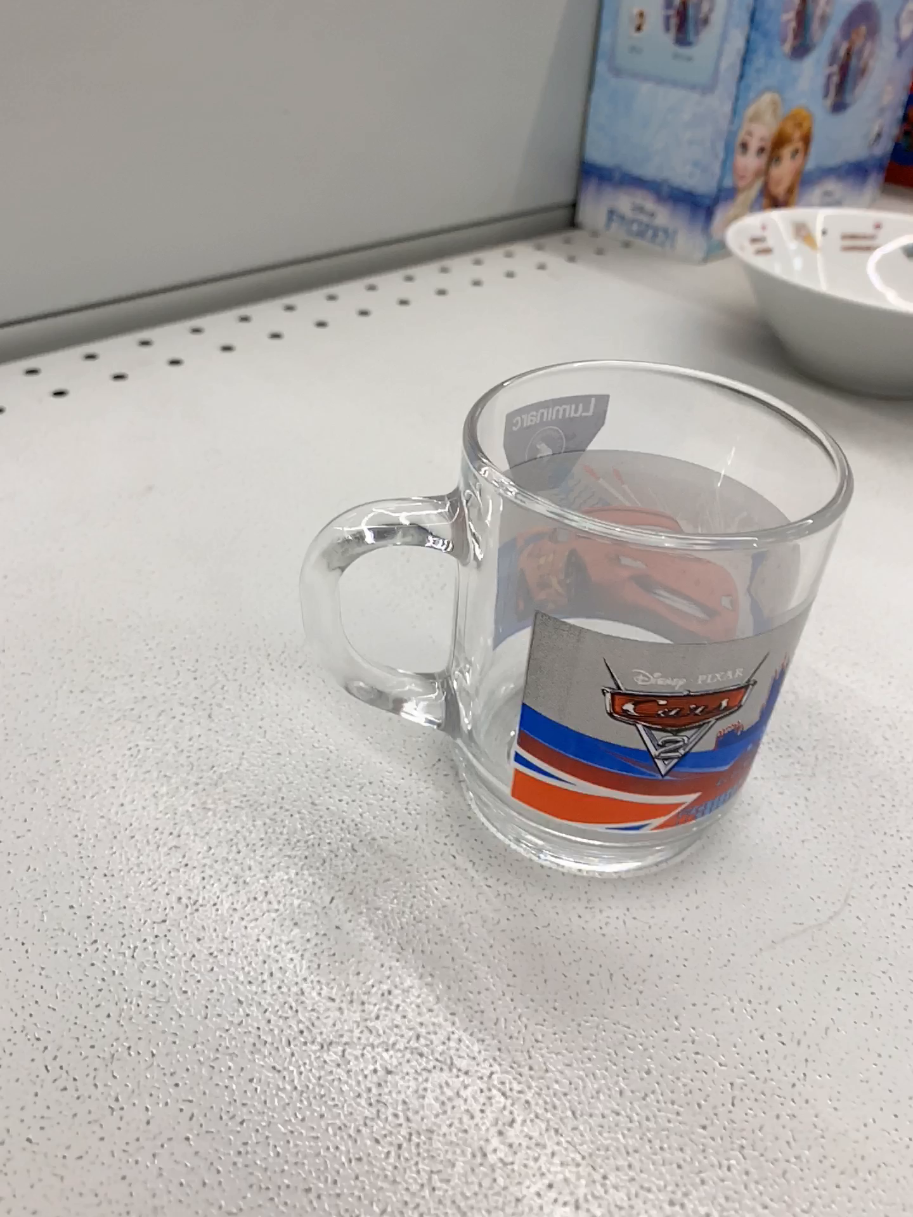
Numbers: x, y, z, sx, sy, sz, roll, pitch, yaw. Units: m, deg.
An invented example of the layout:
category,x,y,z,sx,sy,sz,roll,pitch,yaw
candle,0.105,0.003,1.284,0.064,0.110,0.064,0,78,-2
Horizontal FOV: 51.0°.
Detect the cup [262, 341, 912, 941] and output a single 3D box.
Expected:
category,x,y,z,sx,sy,sz,roll,pitch,yaw
cup,0.020,0.003,0.193,0.108,0.087,0.071,-4,38,-11
